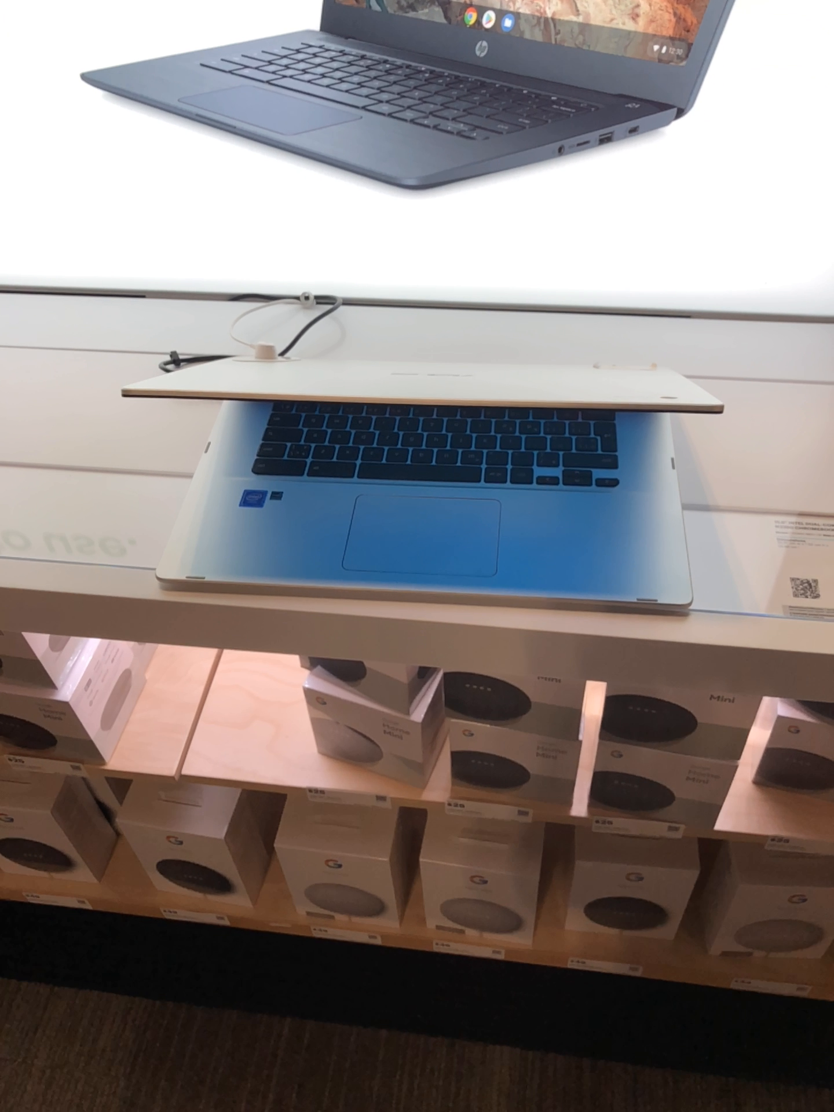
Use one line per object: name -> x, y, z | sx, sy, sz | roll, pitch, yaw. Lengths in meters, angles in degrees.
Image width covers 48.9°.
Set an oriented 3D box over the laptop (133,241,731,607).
laptop -> 0.013, -0.102, 0.629 | 0.341, 0.113, 0.222 | 3, 49, 8
